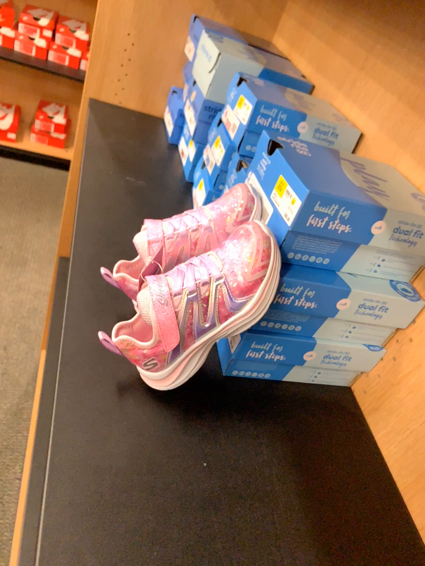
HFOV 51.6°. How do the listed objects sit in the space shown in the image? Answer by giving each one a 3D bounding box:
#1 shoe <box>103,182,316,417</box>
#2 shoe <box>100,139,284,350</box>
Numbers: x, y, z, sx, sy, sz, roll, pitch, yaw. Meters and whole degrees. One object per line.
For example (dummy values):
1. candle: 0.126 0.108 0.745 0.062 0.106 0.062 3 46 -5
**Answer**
1. shoe: -0.013 0.020 0.424 0.080 0.199 0.090 27 20 -34
2. shoe: -0.033 -0.040 0.494 0.080 0.209 0.090 30 20 -30
